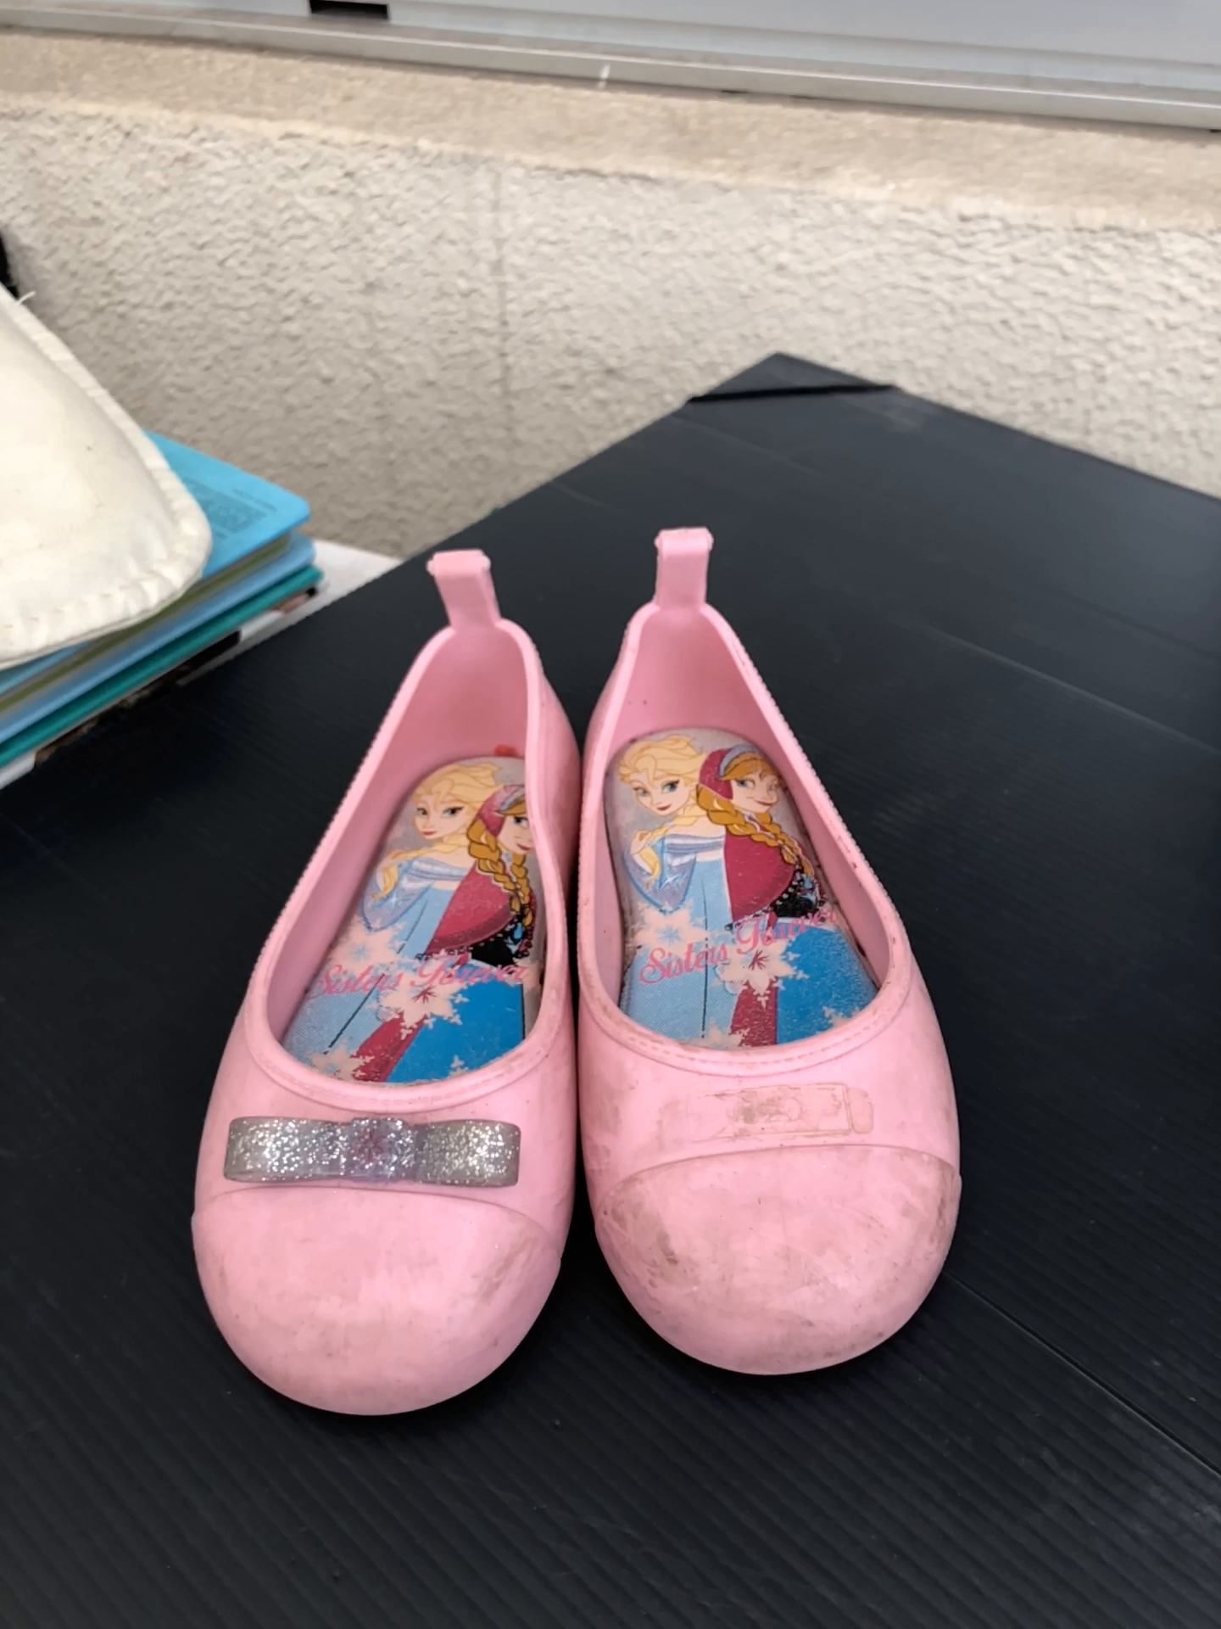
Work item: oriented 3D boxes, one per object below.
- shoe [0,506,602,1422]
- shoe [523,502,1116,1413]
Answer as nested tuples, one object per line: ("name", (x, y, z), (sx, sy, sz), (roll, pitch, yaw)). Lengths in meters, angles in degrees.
("shoe", (-0.046, 0.017, 0.260), (0.077, 0.070, 0.161), (3, 46, 2))
("shoe", (0.024, 0.016, 0.258), (0.077, 0.070, 0.161), (-1, 46, -2))
